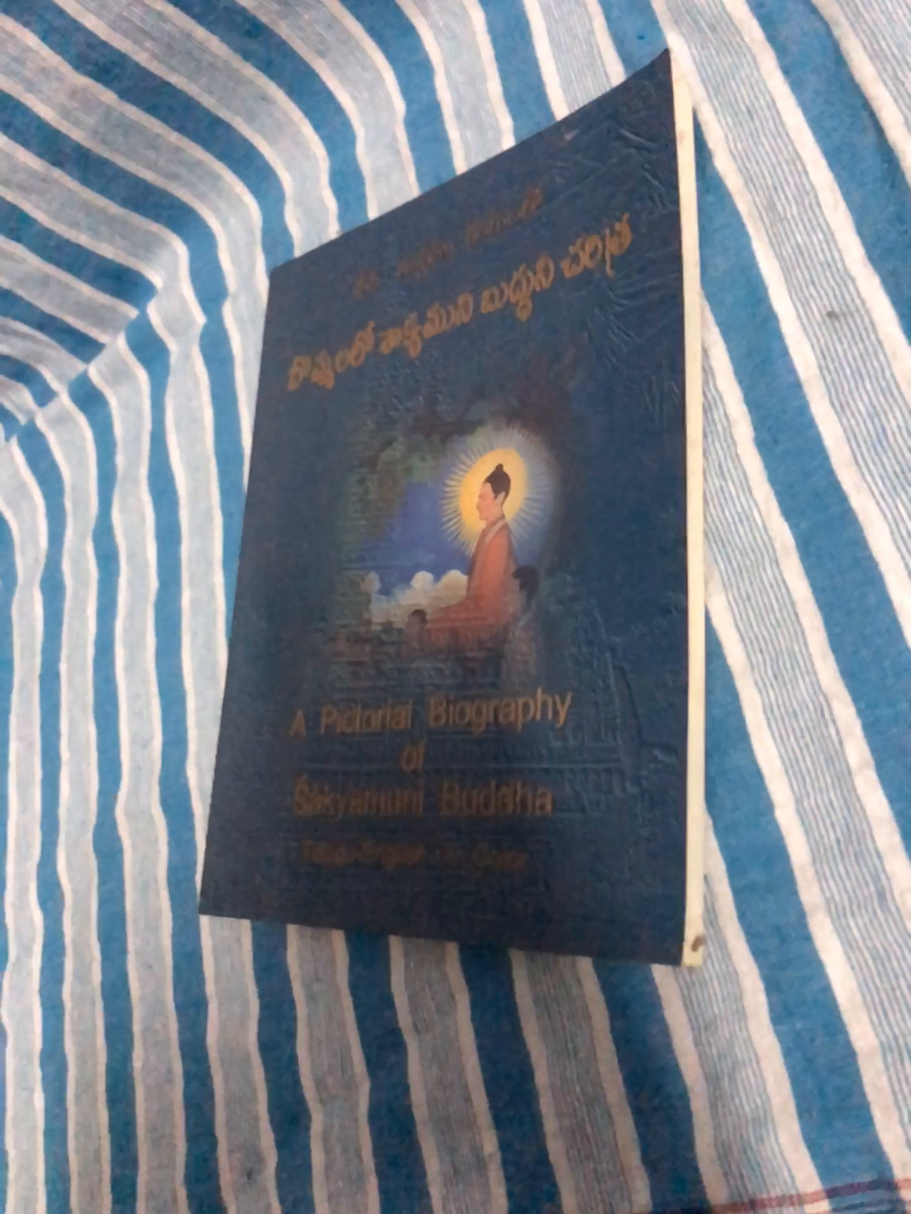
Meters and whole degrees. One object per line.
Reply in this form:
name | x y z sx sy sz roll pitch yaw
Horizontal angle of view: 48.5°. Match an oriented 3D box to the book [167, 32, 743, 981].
book | -0.007 -0.022 0.280 0.170 0.020 0.220 -10 69 39
